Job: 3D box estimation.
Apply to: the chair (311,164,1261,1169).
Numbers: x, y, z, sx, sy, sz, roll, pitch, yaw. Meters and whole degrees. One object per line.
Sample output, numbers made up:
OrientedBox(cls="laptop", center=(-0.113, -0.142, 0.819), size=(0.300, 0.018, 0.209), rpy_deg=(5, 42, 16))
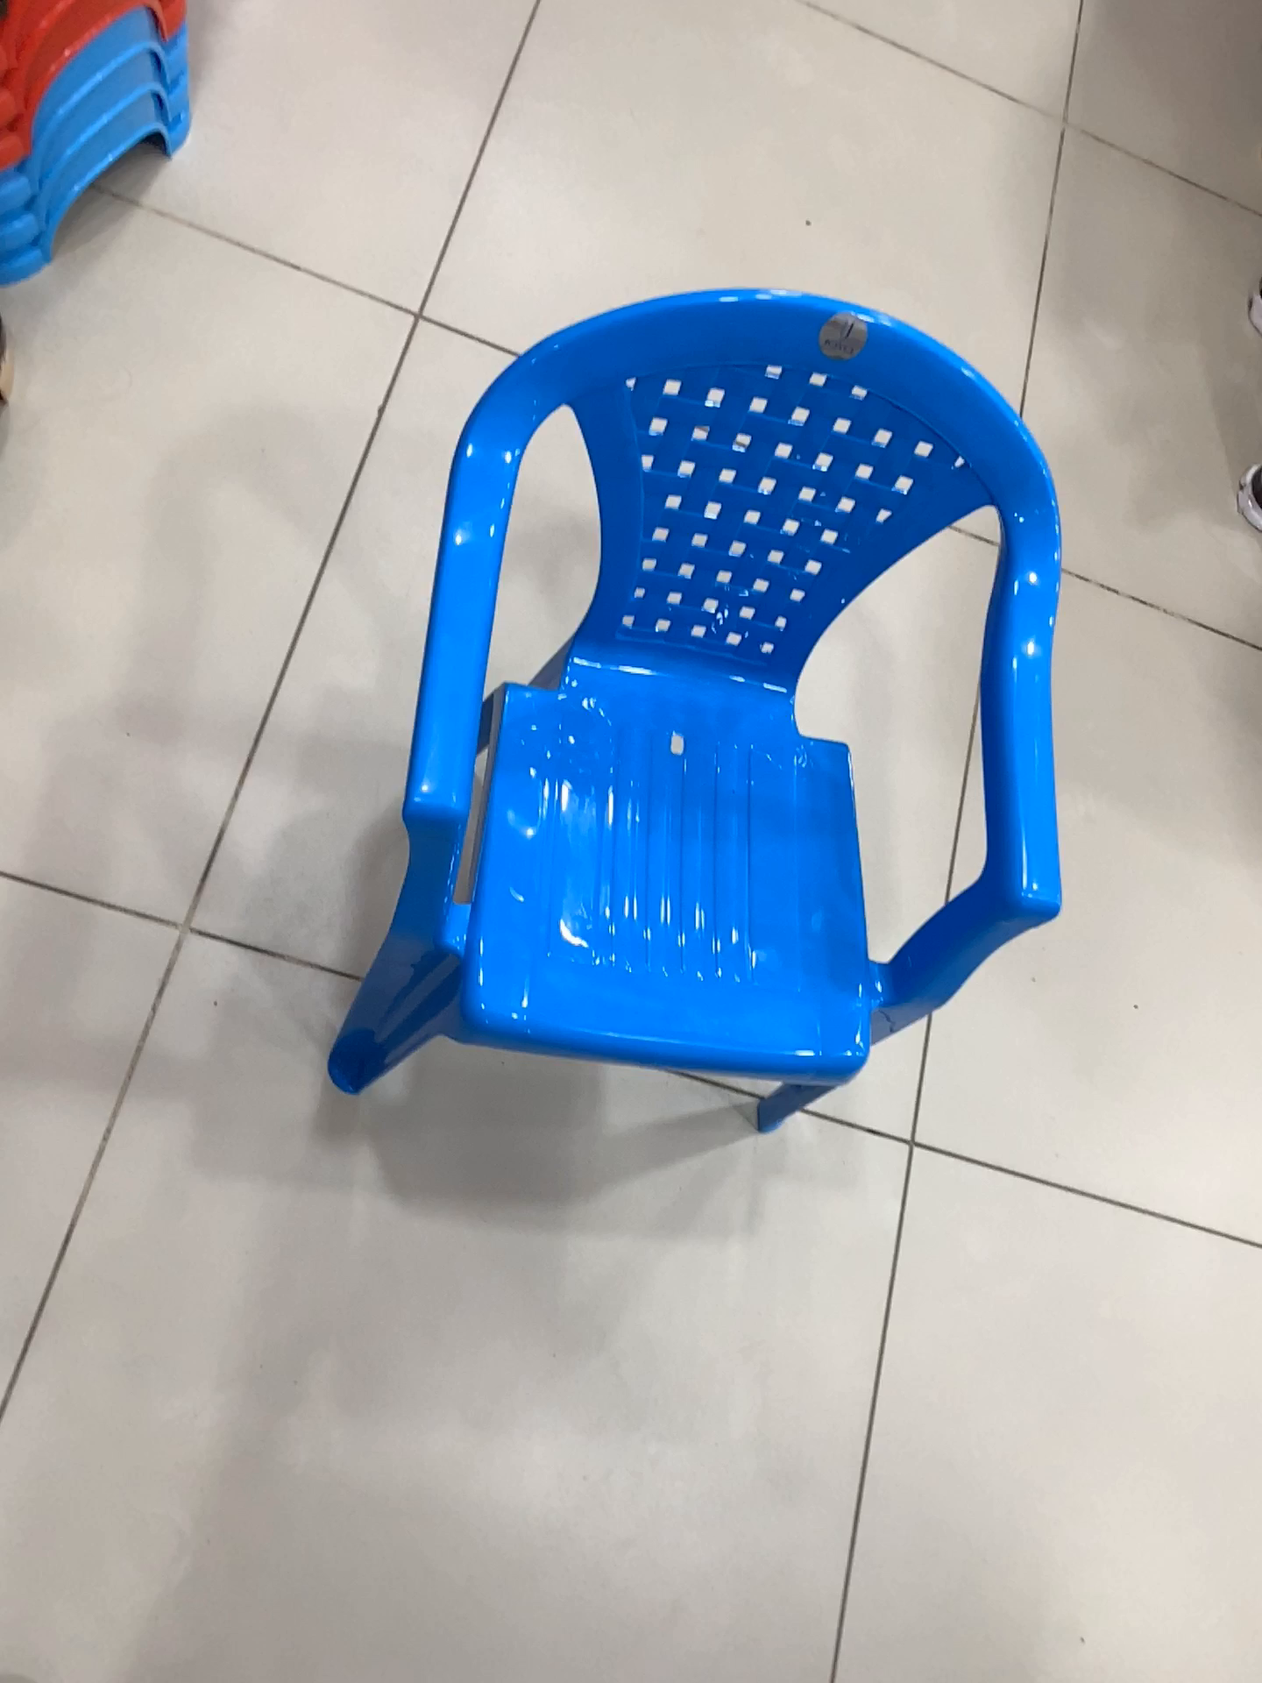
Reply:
OrientedBox(cls="chair", center=(0.039, -0.022, 0.761), size=(0.370, 0.500, 0.340), rpy_deg=(10, 69, -13))
